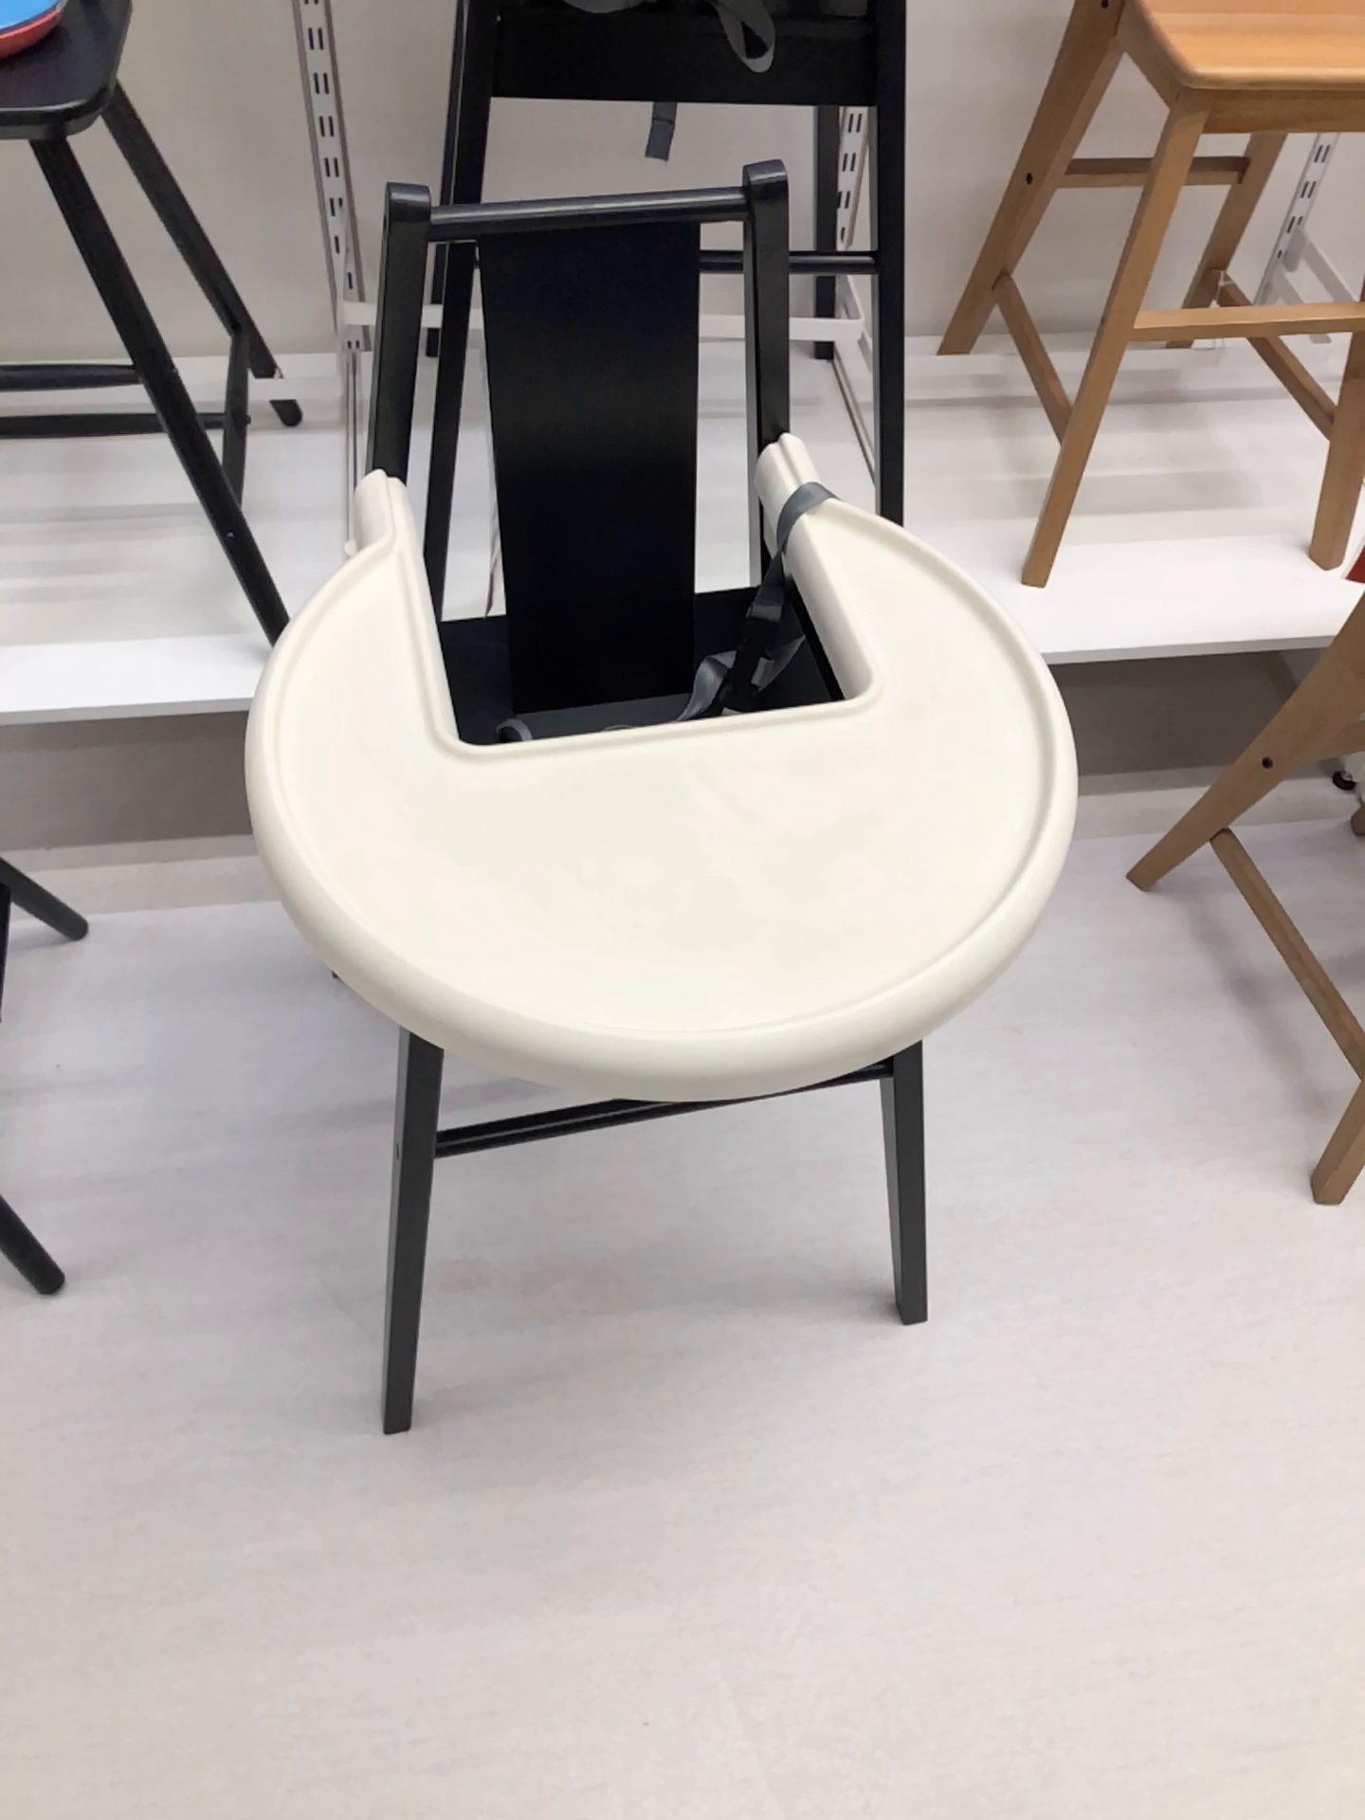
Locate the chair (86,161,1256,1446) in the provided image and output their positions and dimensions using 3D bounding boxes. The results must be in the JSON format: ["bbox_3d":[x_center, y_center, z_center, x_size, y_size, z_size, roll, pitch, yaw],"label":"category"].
[{"bbox_3d":[-0.065,-0.043,1.159,0.550,0.776,0.553,-8,53,-10],"label":"chair"}]
